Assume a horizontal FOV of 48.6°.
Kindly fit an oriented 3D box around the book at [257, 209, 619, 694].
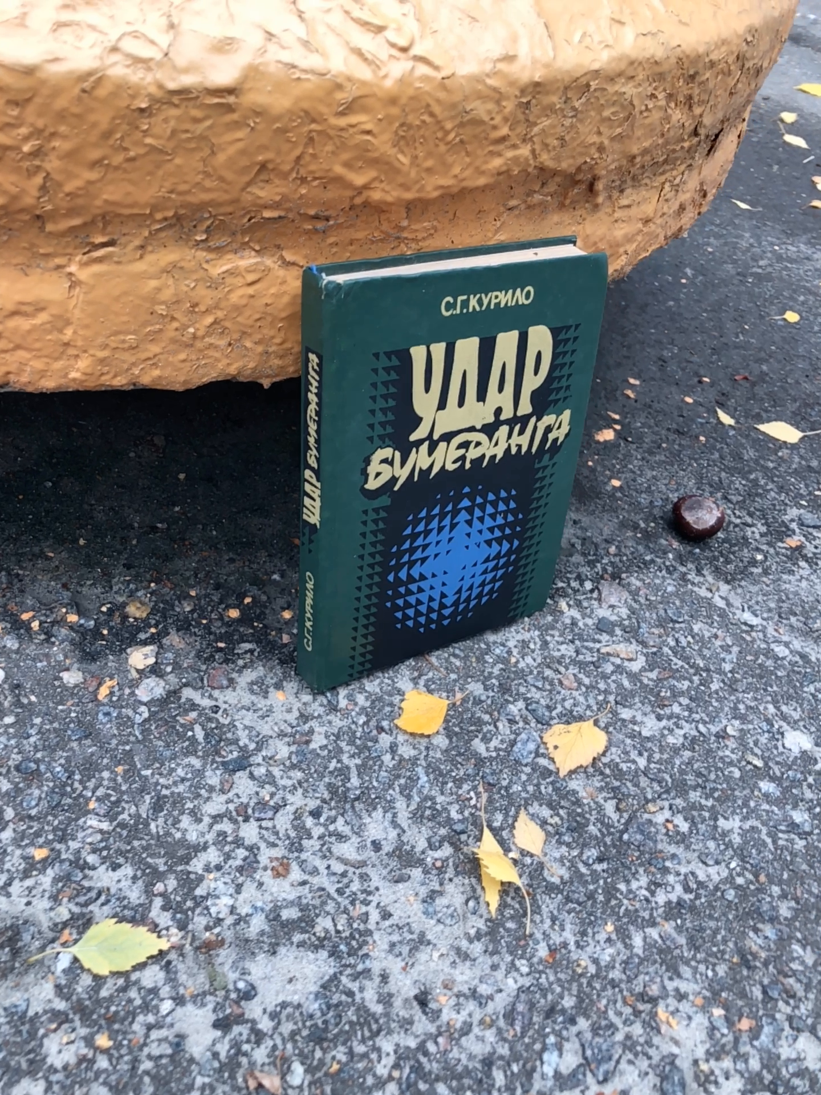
[{"bbox_3d":[0.008,-0.035,0.368,0.131,0.178,0.029,-18,42,-27],"label":"book"}]
